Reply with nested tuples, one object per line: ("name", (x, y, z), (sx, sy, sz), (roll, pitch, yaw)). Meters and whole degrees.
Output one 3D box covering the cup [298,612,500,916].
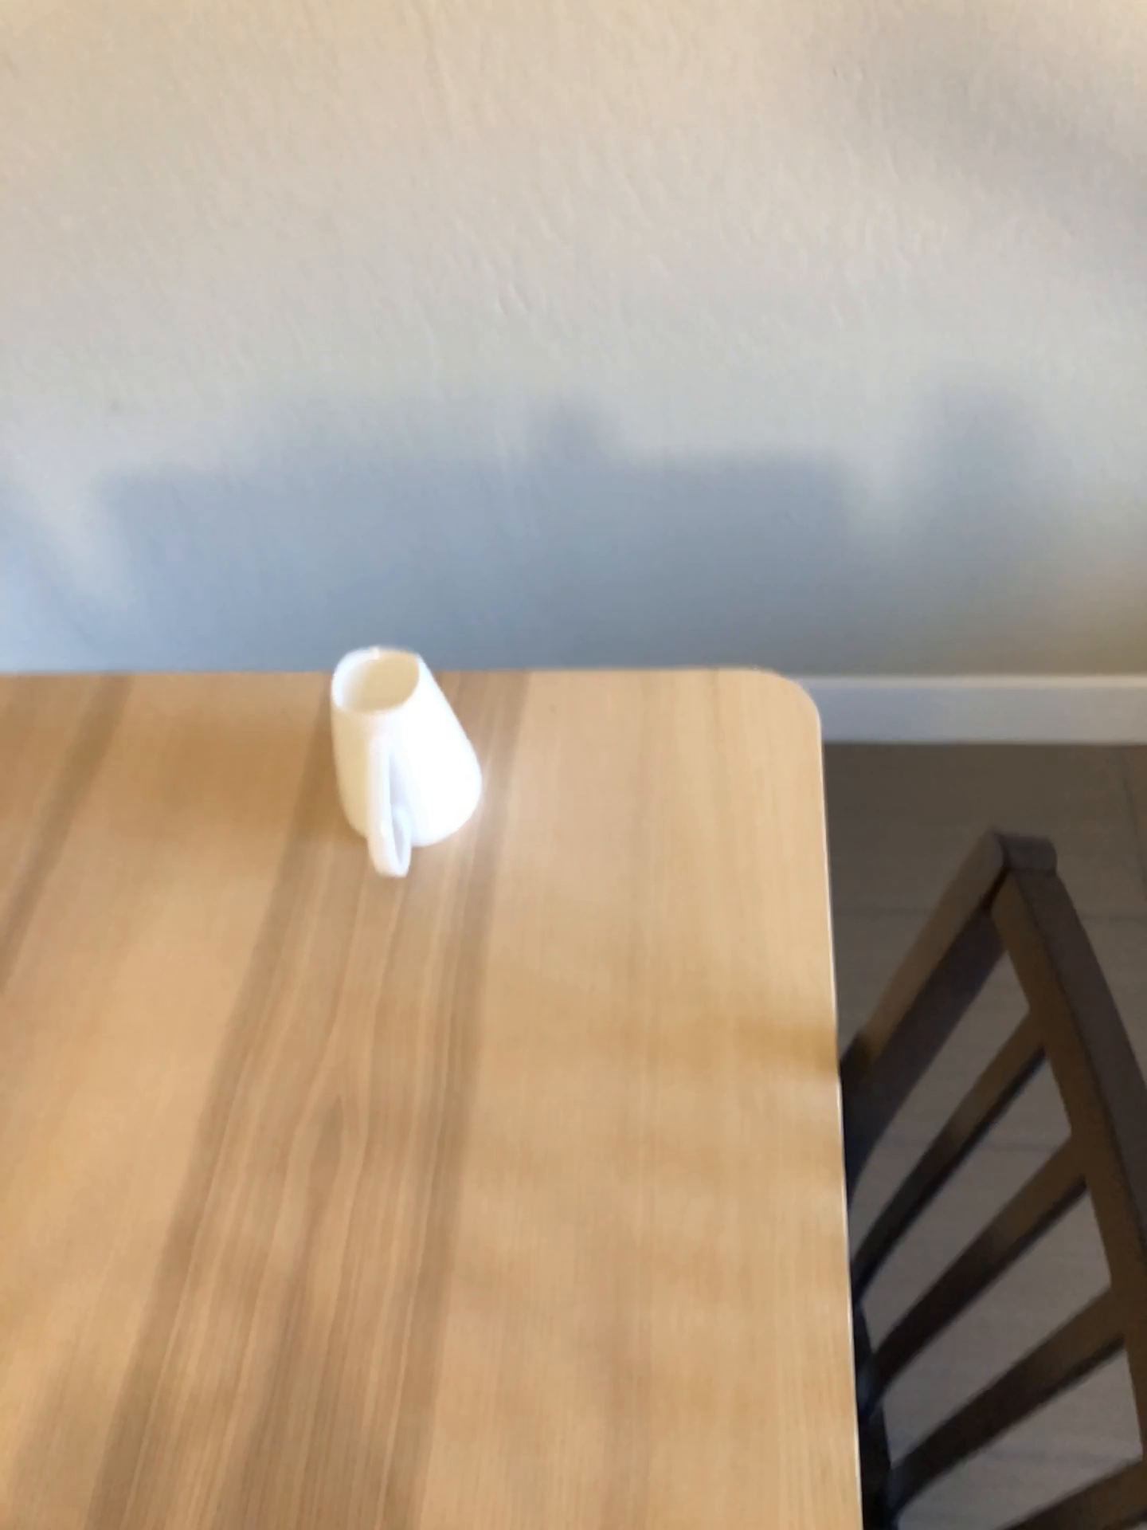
("cup", (-0.105, -0.001, 0.818), (0.100, 0.120, 0.140), (-6, 49, 1))
